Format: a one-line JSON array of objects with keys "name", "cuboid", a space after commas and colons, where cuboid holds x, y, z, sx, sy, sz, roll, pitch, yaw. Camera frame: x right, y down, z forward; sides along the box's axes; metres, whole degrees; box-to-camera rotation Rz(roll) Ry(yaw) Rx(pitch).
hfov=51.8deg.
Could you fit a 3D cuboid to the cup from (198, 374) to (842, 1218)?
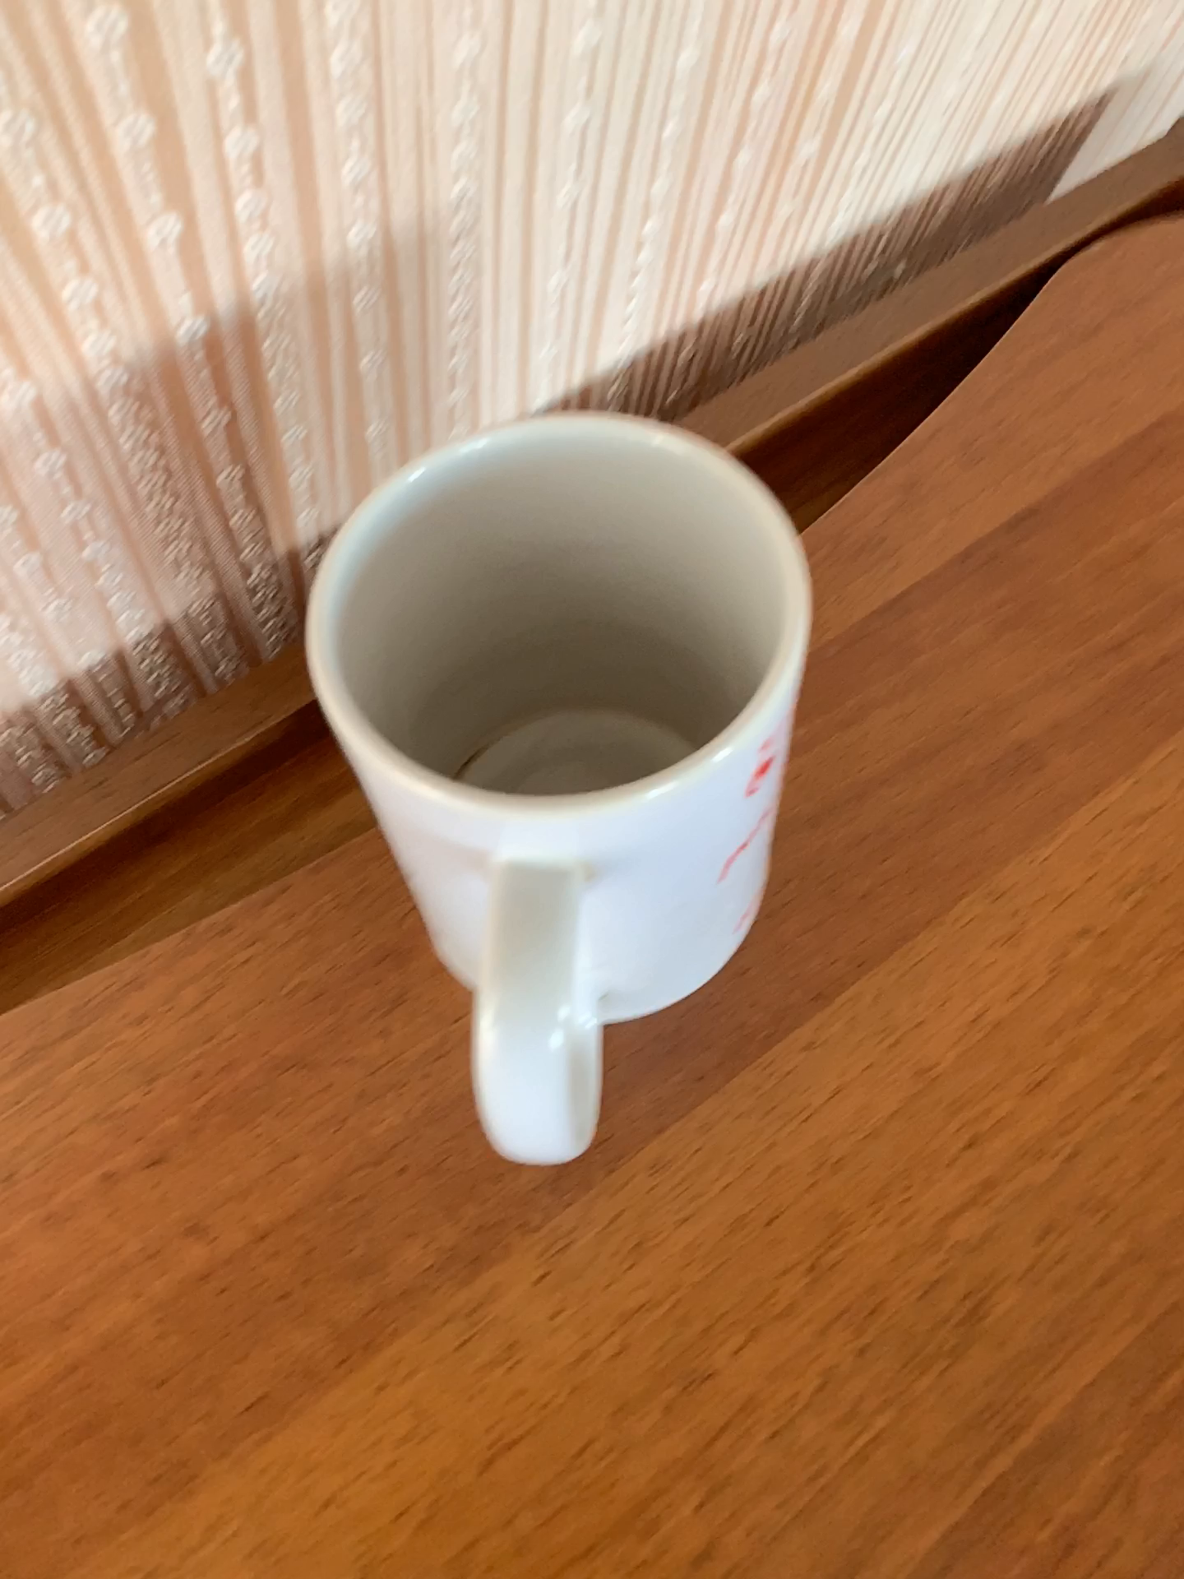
[{"name": "cup", "cuboid": [-0.001, 0.005, 0.231, 0.082, 0.105, 0.118, 4, 60, 6]}]
